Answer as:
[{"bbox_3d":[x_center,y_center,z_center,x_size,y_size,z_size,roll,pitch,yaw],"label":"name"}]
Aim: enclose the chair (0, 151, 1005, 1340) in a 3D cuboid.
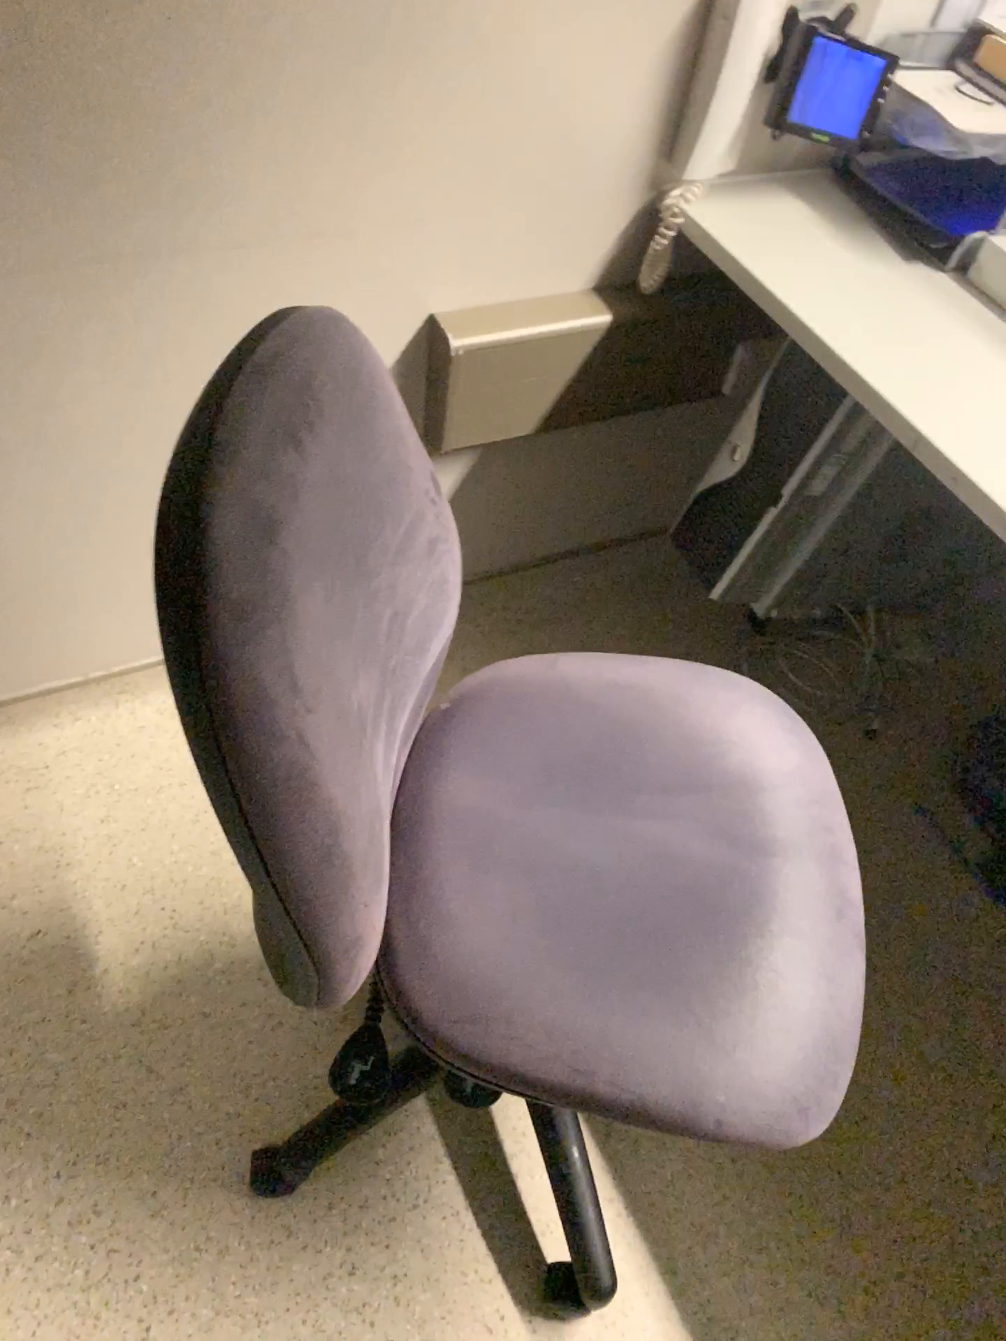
[{"bbox_3d":[0.040,0.164,0.992,0.680,0.902,0.676,10,50,-2],"label":"chair"}]
